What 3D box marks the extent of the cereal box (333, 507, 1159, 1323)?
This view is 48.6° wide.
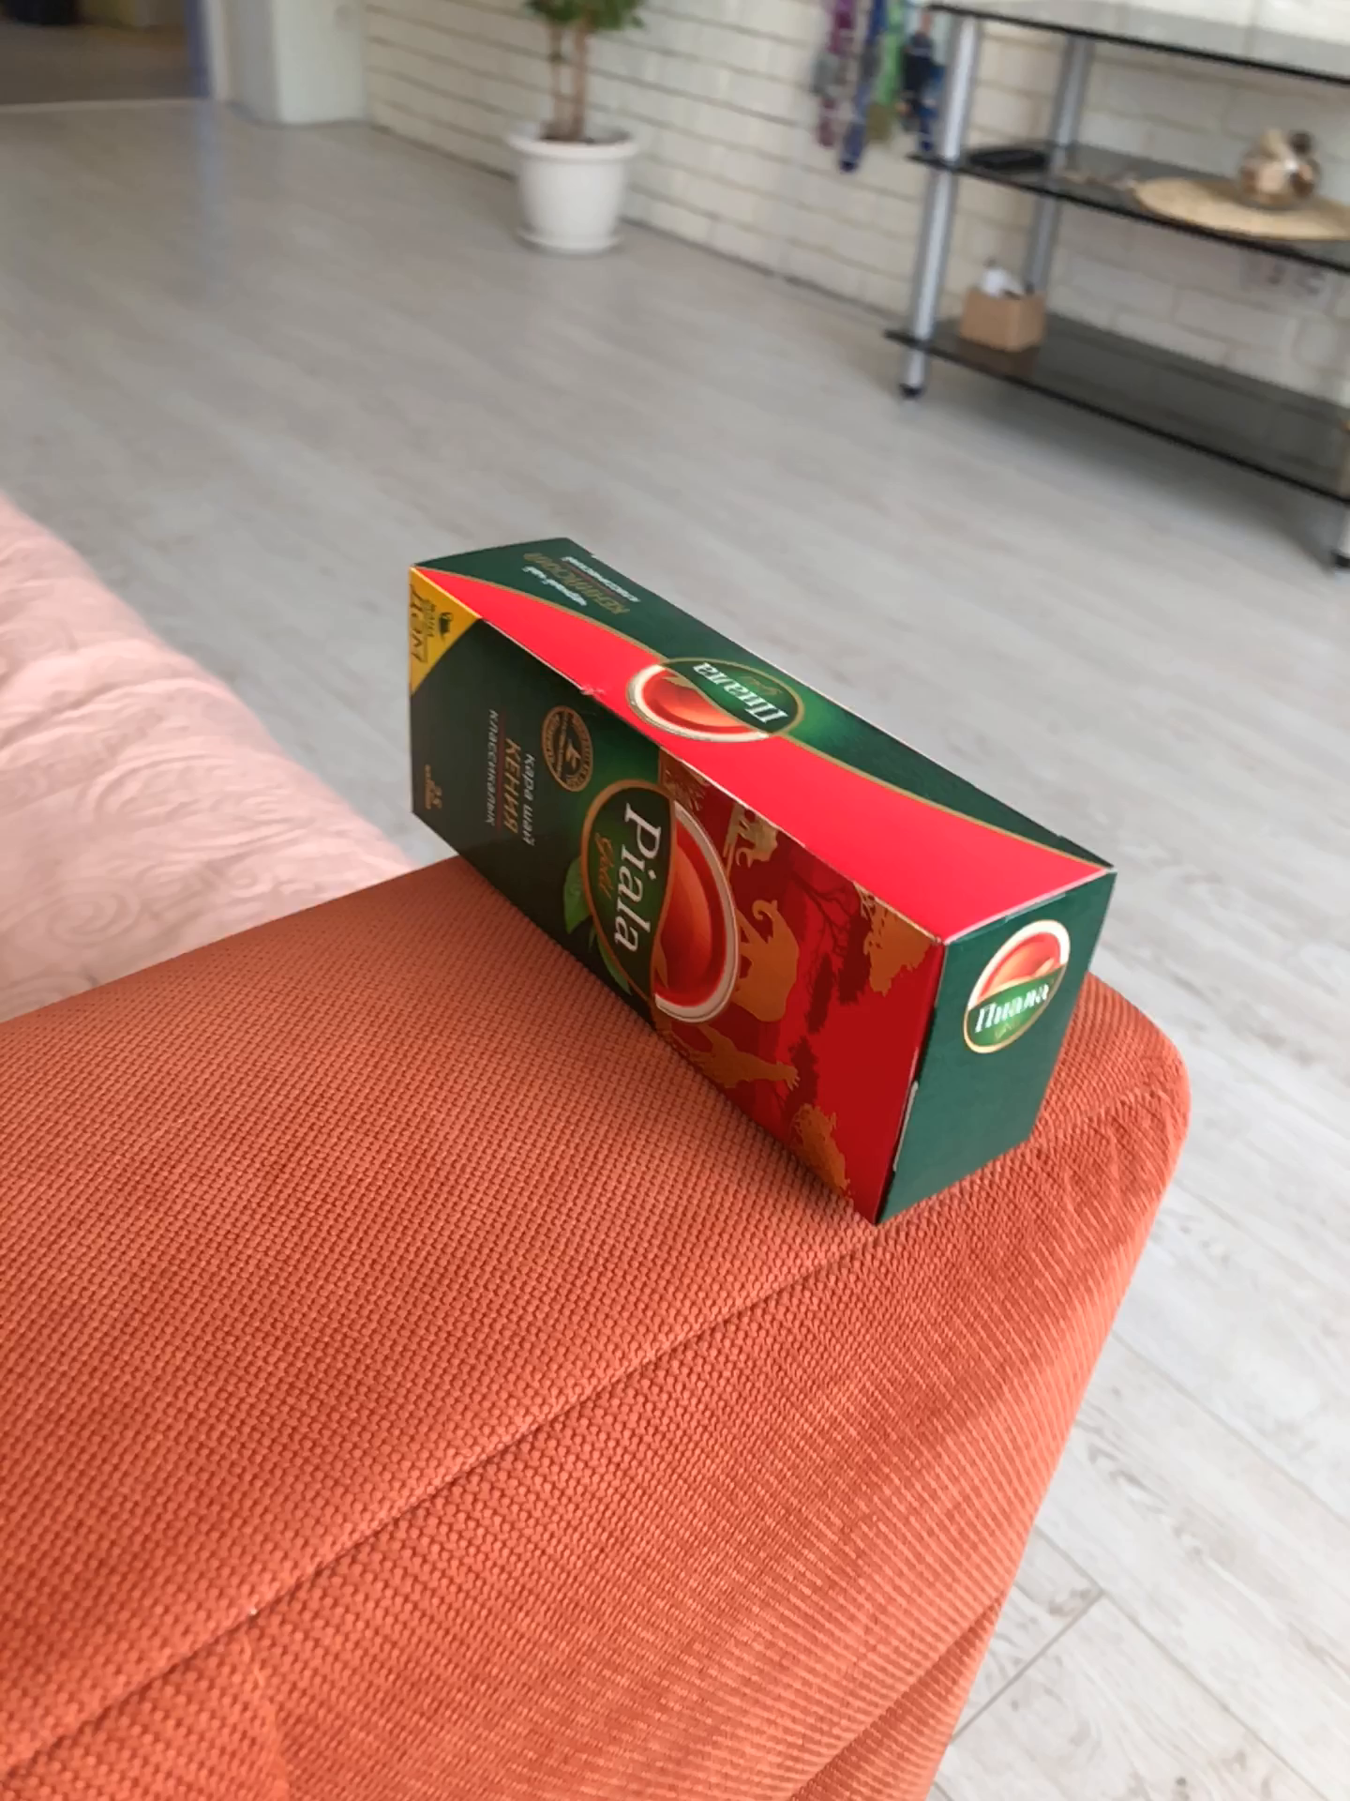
[{"bbox_3d":[0.000,-0.010,0.288,0.050,0.069,0.171,-22,44,-33],"label":"cereal box"}]
